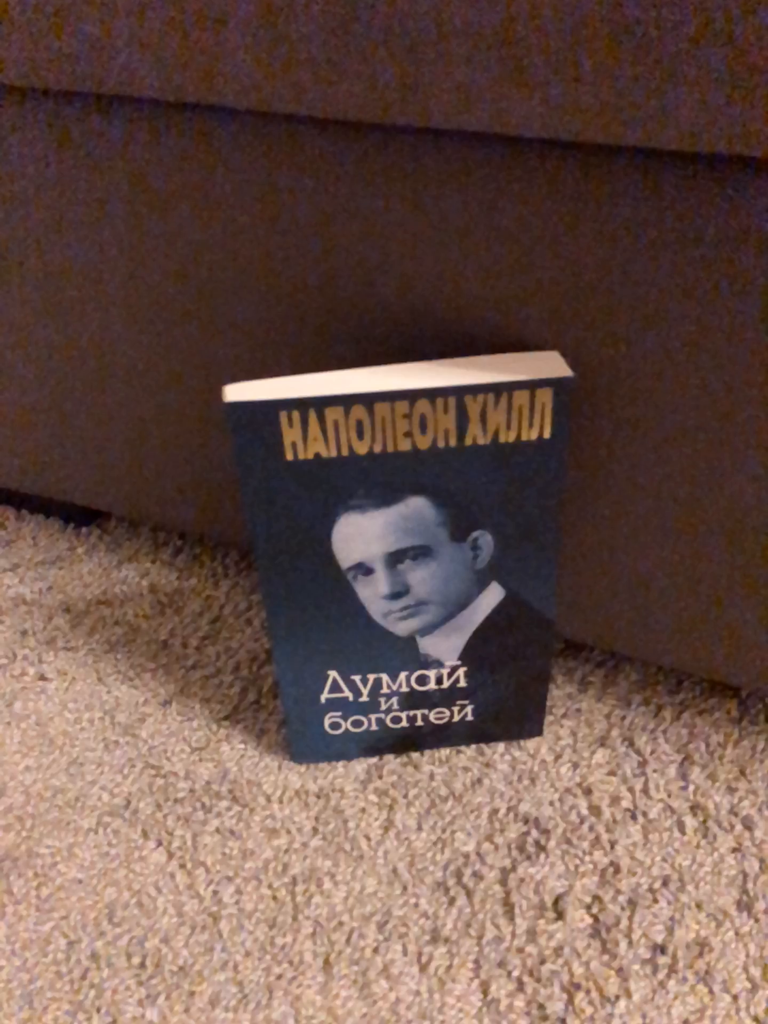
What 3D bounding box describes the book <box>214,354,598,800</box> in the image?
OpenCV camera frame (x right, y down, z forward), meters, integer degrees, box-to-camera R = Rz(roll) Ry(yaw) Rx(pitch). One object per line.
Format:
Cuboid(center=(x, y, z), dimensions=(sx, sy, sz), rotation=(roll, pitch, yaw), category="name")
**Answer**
Cuboid(center=(0.010, 0.037, 0.353), dimensions=(0.132, 0.198, 0.030), rotation=(-6, 34, -5), category="book")
